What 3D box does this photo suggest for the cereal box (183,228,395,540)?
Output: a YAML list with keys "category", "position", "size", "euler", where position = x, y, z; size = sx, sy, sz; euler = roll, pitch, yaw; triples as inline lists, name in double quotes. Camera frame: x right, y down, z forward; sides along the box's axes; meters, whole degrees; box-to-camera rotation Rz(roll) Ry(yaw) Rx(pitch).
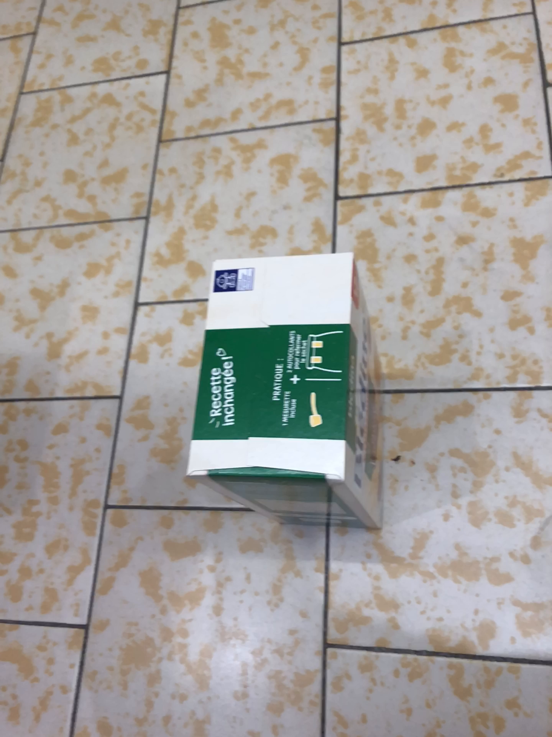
- category: "cereal box"
  position: [0.024, 0.025, 0.362]
  size: [0.080, 0.180, 0.130]
  euler: [-1, 70, 15]
